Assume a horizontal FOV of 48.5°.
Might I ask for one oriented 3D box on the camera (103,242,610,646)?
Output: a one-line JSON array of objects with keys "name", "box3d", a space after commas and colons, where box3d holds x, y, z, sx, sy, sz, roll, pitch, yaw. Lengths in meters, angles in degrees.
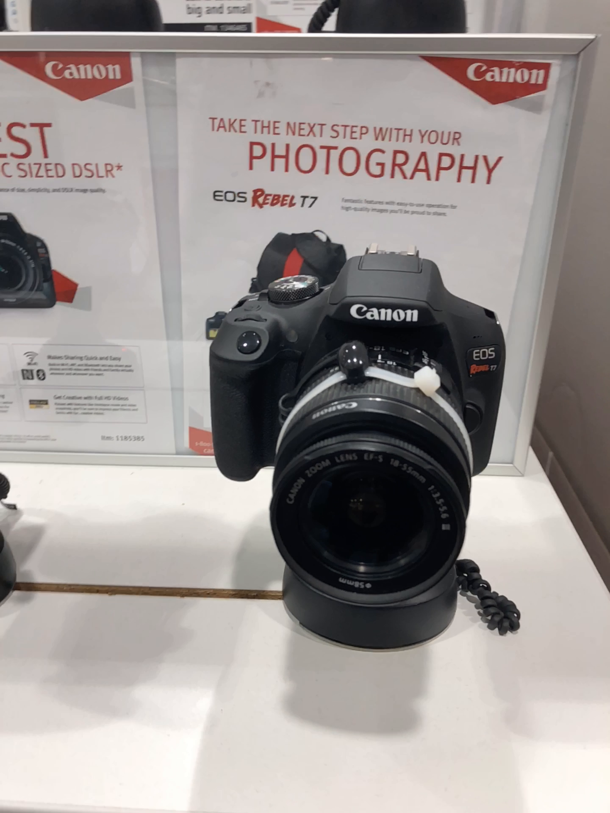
[{"name": "camera", "box3d": [0.022, -0.002, 0.268, 0.140, 0.090, 0.151, 3, 26, 6]}]
